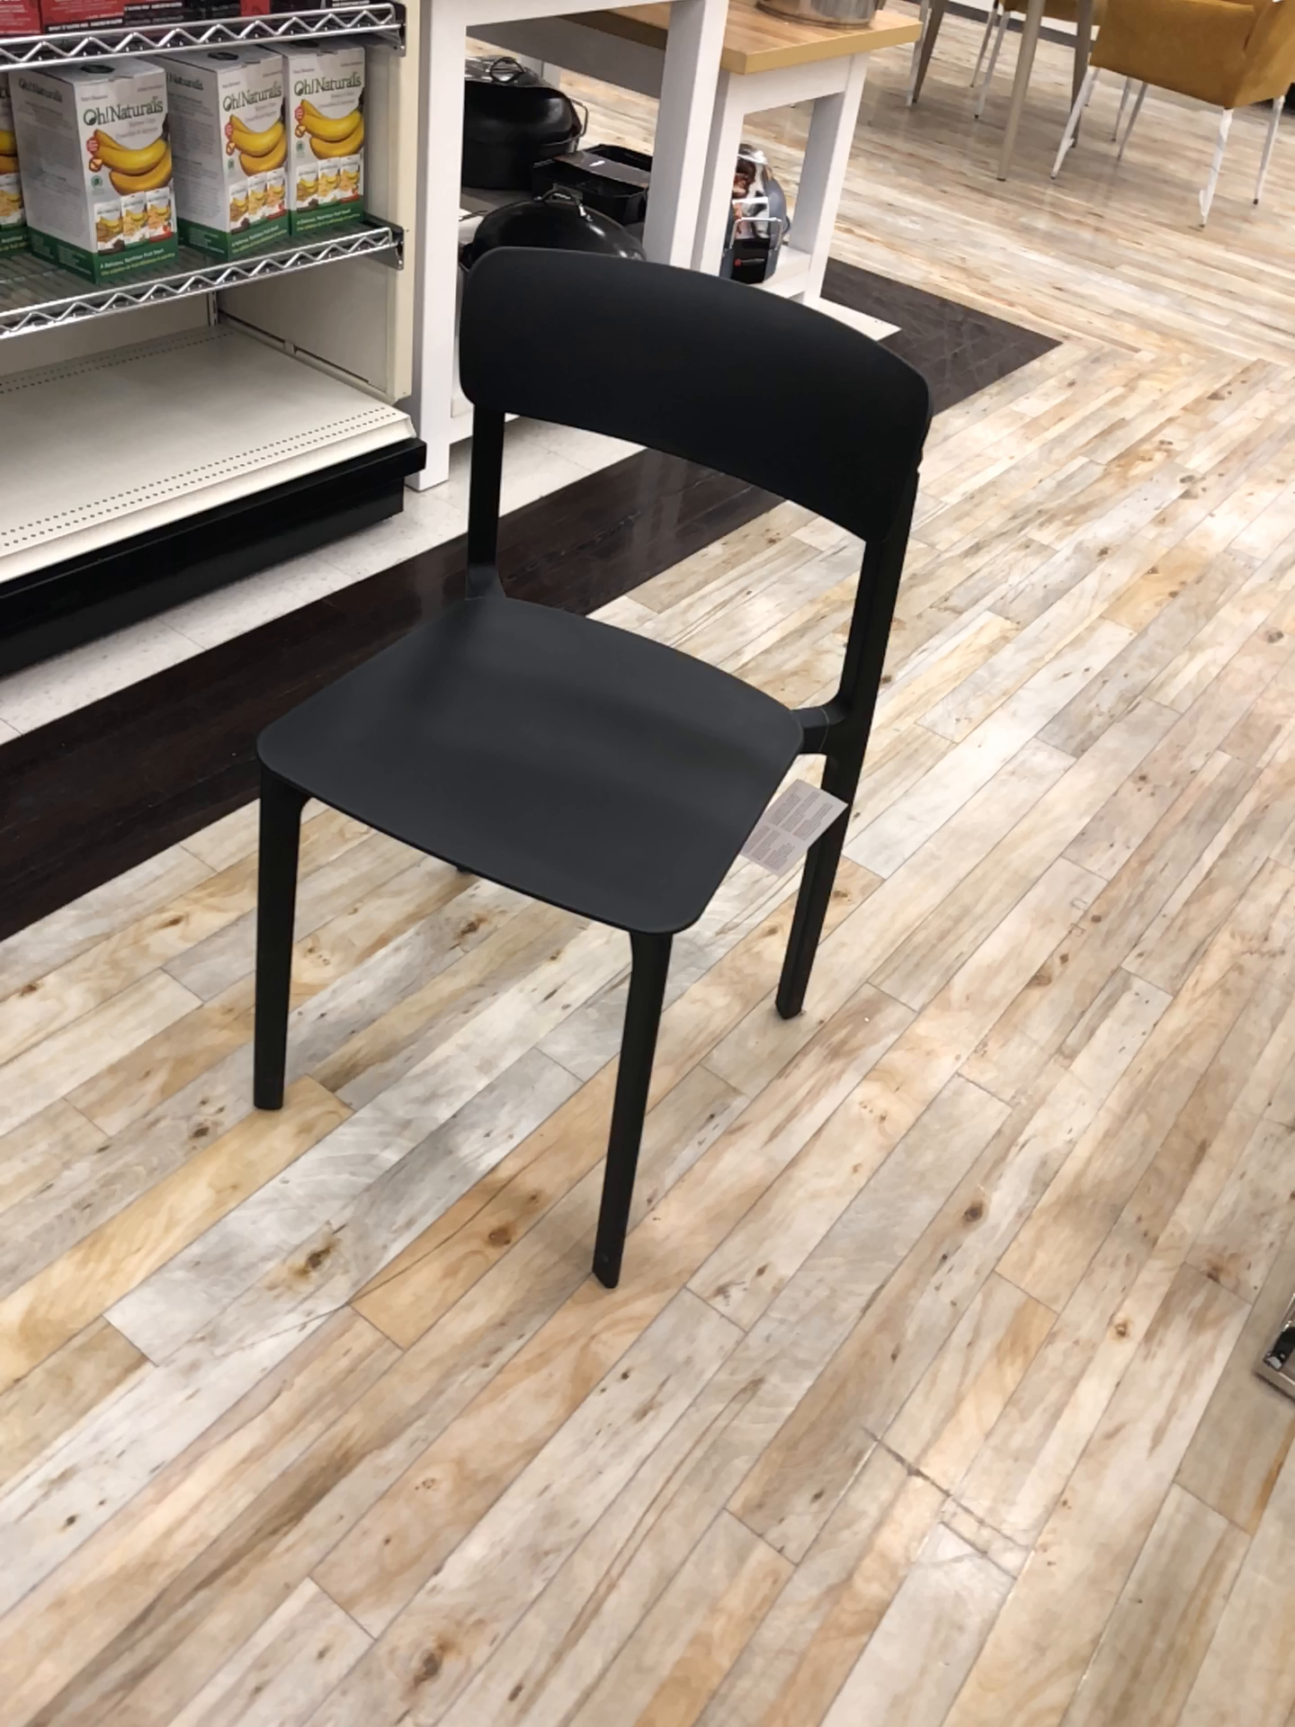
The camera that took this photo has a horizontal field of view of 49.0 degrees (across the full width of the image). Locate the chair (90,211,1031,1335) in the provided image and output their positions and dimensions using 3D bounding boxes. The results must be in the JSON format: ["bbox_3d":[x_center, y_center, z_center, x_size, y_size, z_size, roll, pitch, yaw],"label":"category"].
[{"bbox_3d":[-0.067,-0.094,1.277,0.500,0.707,0.542,23,42,15],"label":"chair"}]
